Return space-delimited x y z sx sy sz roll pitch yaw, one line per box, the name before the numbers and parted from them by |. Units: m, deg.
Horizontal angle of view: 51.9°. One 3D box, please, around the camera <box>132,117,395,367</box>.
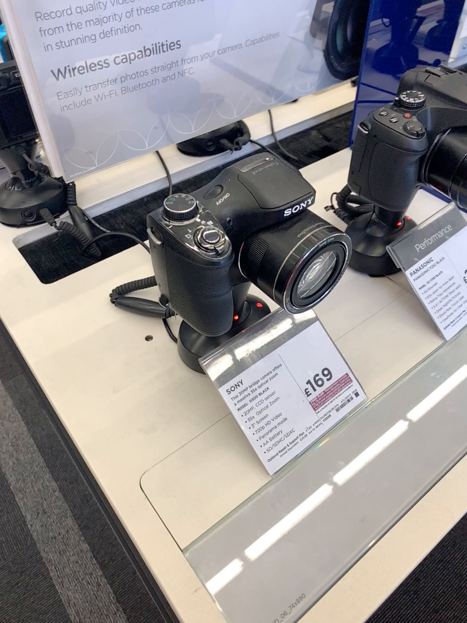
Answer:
camera | 0.019 -0.051 0.321 0.130 0.089 0.091 -30 54 -24
